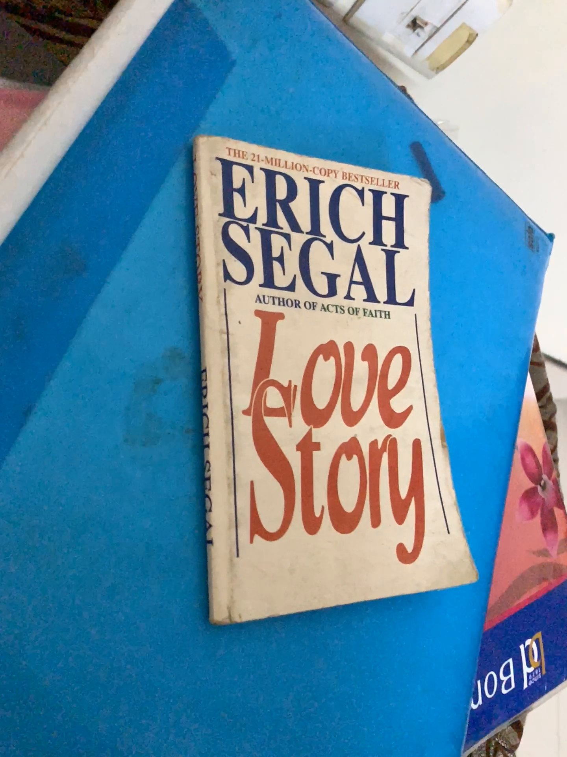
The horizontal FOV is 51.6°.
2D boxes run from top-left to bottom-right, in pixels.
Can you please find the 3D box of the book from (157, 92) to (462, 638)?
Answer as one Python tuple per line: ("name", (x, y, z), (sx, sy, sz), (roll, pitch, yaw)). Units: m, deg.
("book", (0.010, -0.008, 0.225), (0.110, 0.020, 0.180), (4, 75, -32))
